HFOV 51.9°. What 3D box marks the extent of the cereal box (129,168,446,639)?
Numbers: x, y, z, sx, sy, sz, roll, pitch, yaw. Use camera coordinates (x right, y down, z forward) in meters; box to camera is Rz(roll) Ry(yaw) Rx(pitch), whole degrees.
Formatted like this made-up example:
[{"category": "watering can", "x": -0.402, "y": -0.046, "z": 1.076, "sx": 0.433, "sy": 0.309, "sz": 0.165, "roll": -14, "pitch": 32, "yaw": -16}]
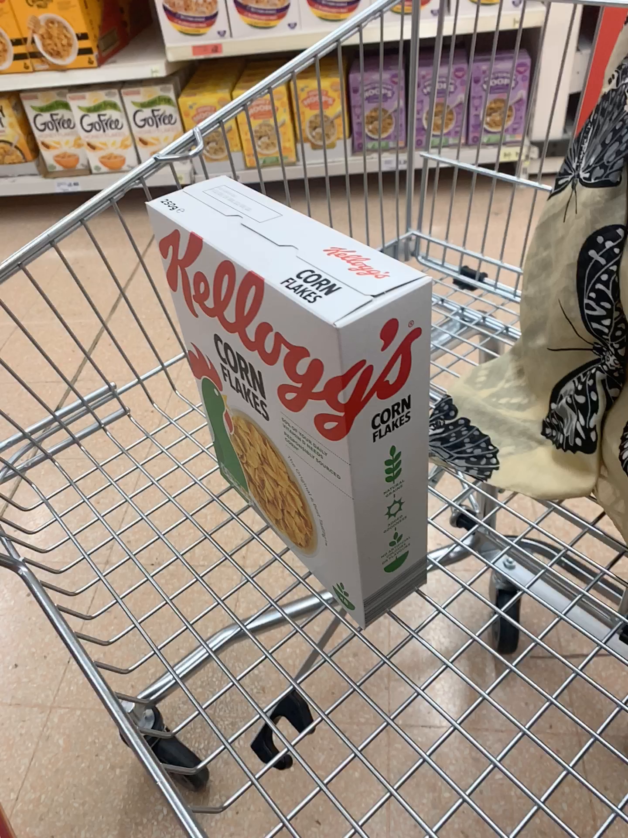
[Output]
[{"category": "cereal box", "x": -0.014, "y": -0.008, "z": 0.414, "sx": 0.060, "sy": 0.238, "sz": 0.201, "roll": -31, "pitch": 47, "yaw": -23}]
